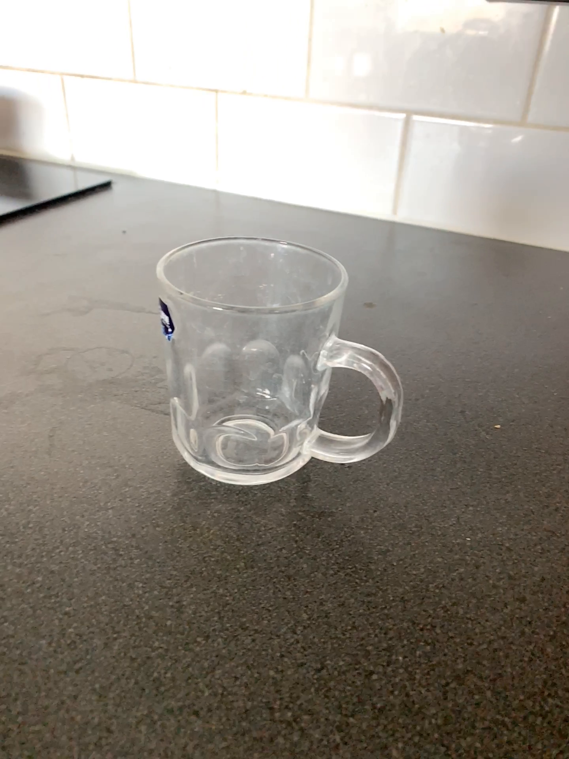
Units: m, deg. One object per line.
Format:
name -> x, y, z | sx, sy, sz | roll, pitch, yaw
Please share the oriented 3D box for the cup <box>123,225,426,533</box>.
cup -> -0.002, -0.005, 0.251 | 0.100, 0.090, 0.071 | 12, 32, 13
